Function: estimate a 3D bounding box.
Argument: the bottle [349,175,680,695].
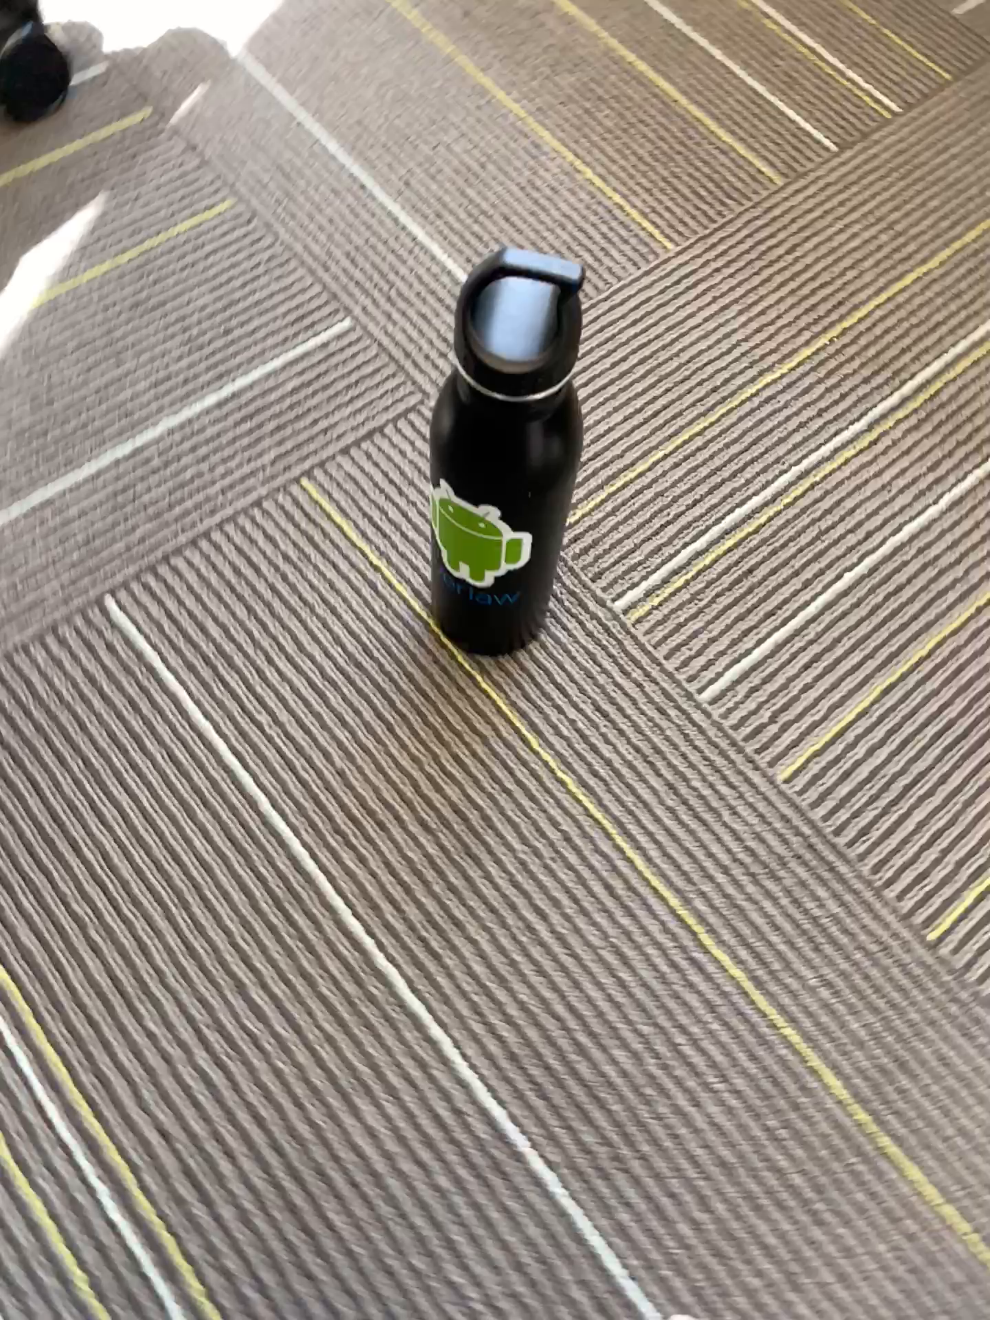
[{"bbox_3d":[0.001,-0.081,0.467,0.090,0.240,0.080,28,67,8],"label":"bottle"}]
